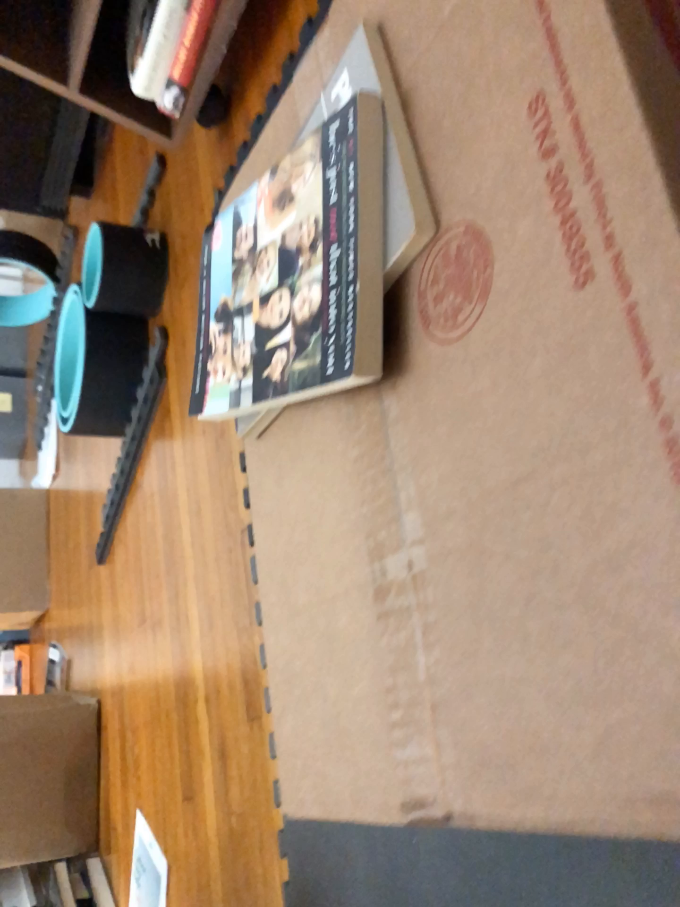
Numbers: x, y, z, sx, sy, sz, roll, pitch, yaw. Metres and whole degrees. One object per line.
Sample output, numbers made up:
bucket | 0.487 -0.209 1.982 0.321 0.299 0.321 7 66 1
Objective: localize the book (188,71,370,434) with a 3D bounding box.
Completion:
book | -0.047 -0.097 0.449 0.231 0.010 0.150 -8 80 61
